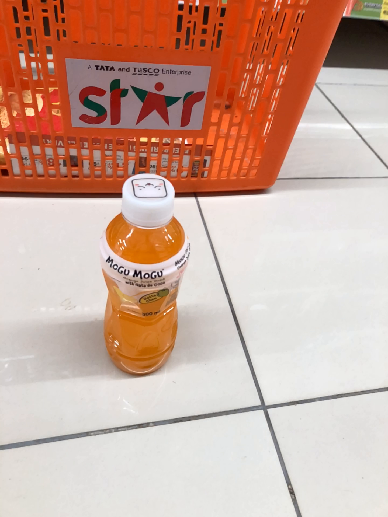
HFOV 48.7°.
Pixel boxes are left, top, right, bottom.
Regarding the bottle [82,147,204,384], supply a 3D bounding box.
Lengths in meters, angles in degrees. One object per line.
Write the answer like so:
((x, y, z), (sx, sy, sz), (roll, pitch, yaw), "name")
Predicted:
((-0.034, 0.015, 0.291), (0.060, 0.159, 0.066), (5, 45, -5), "bottle")
